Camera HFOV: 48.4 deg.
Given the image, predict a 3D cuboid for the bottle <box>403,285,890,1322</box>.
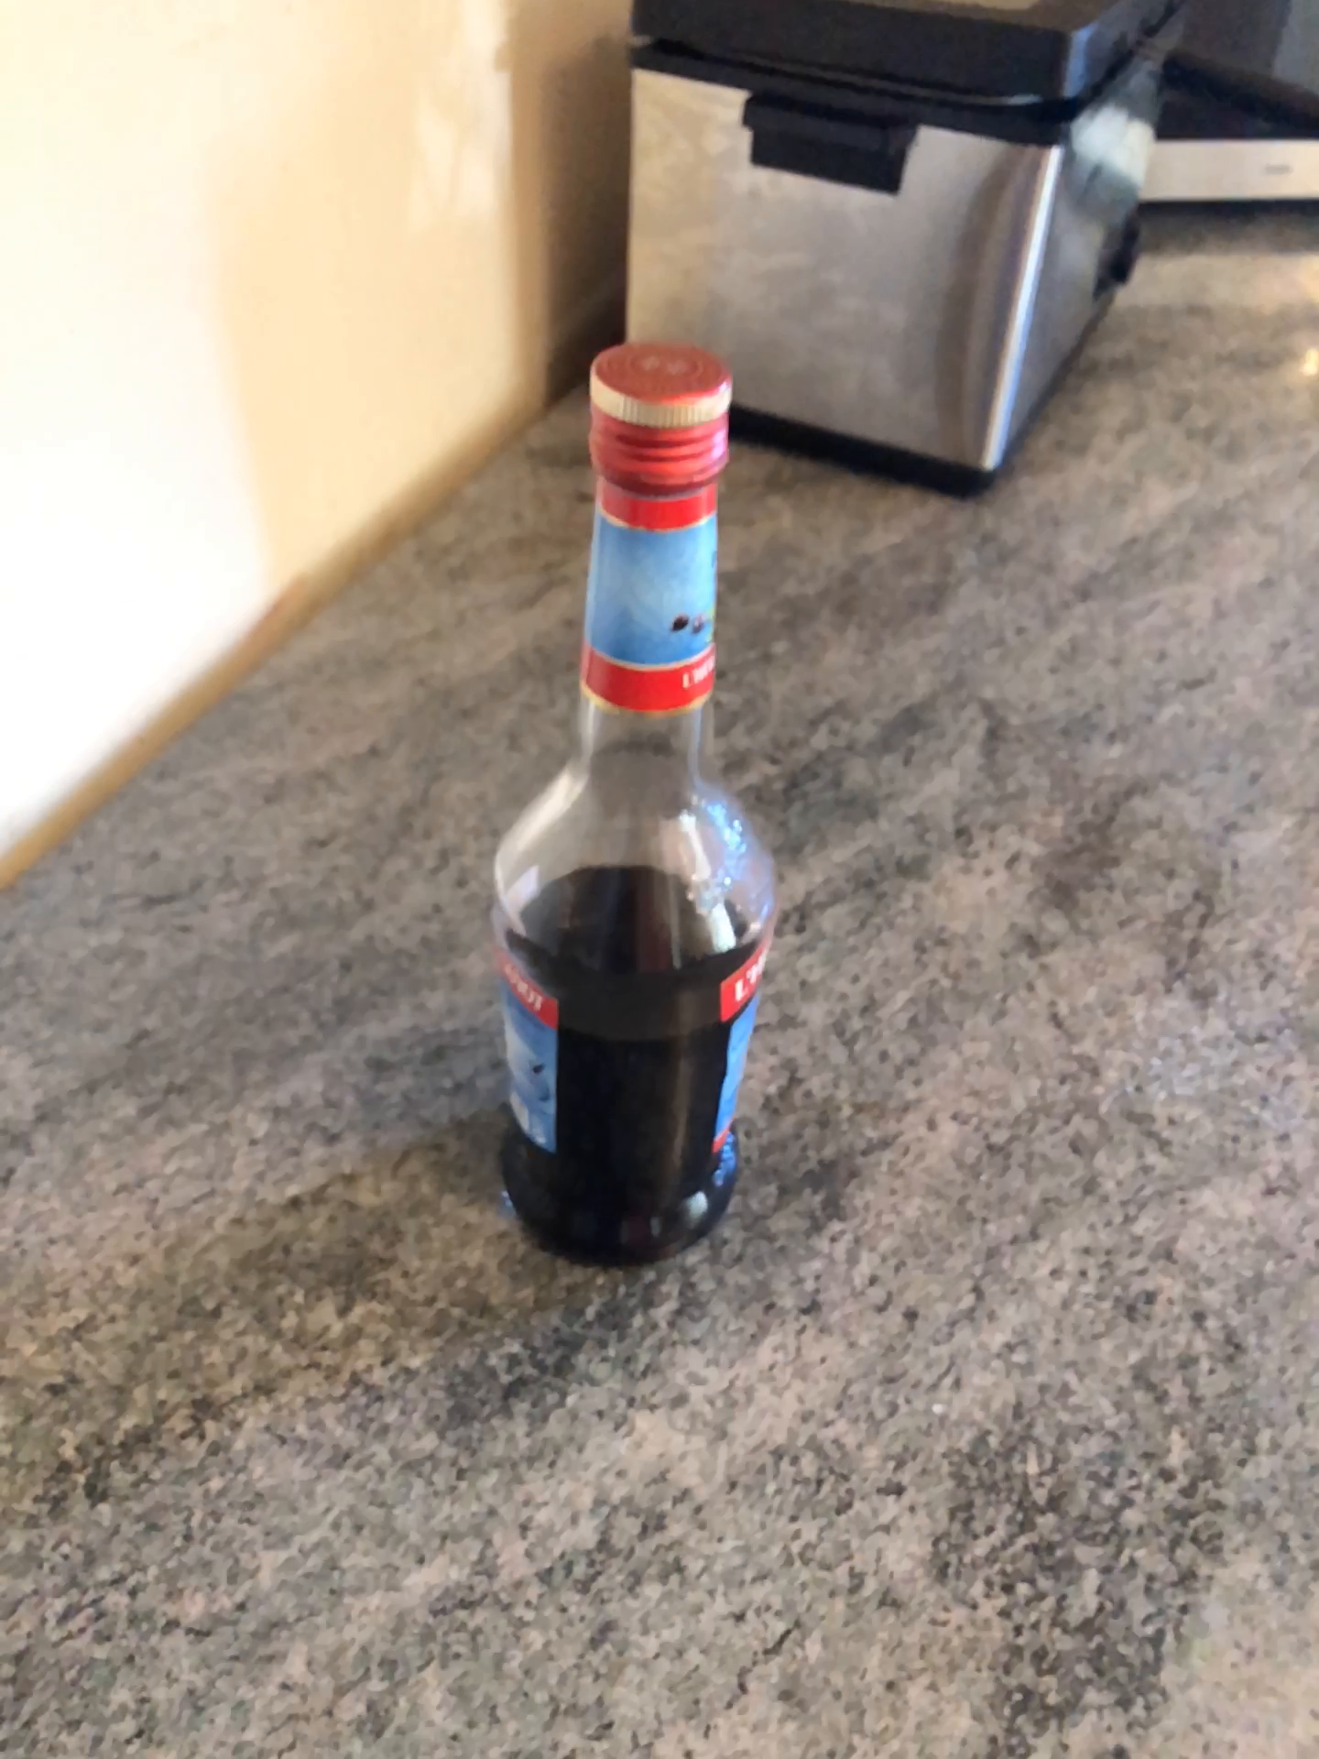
[{"bbox_3d":[-0.012,-0.001,0.422,0.090,0.298,0.091,2,42,-1],"label":"bottle"}]
